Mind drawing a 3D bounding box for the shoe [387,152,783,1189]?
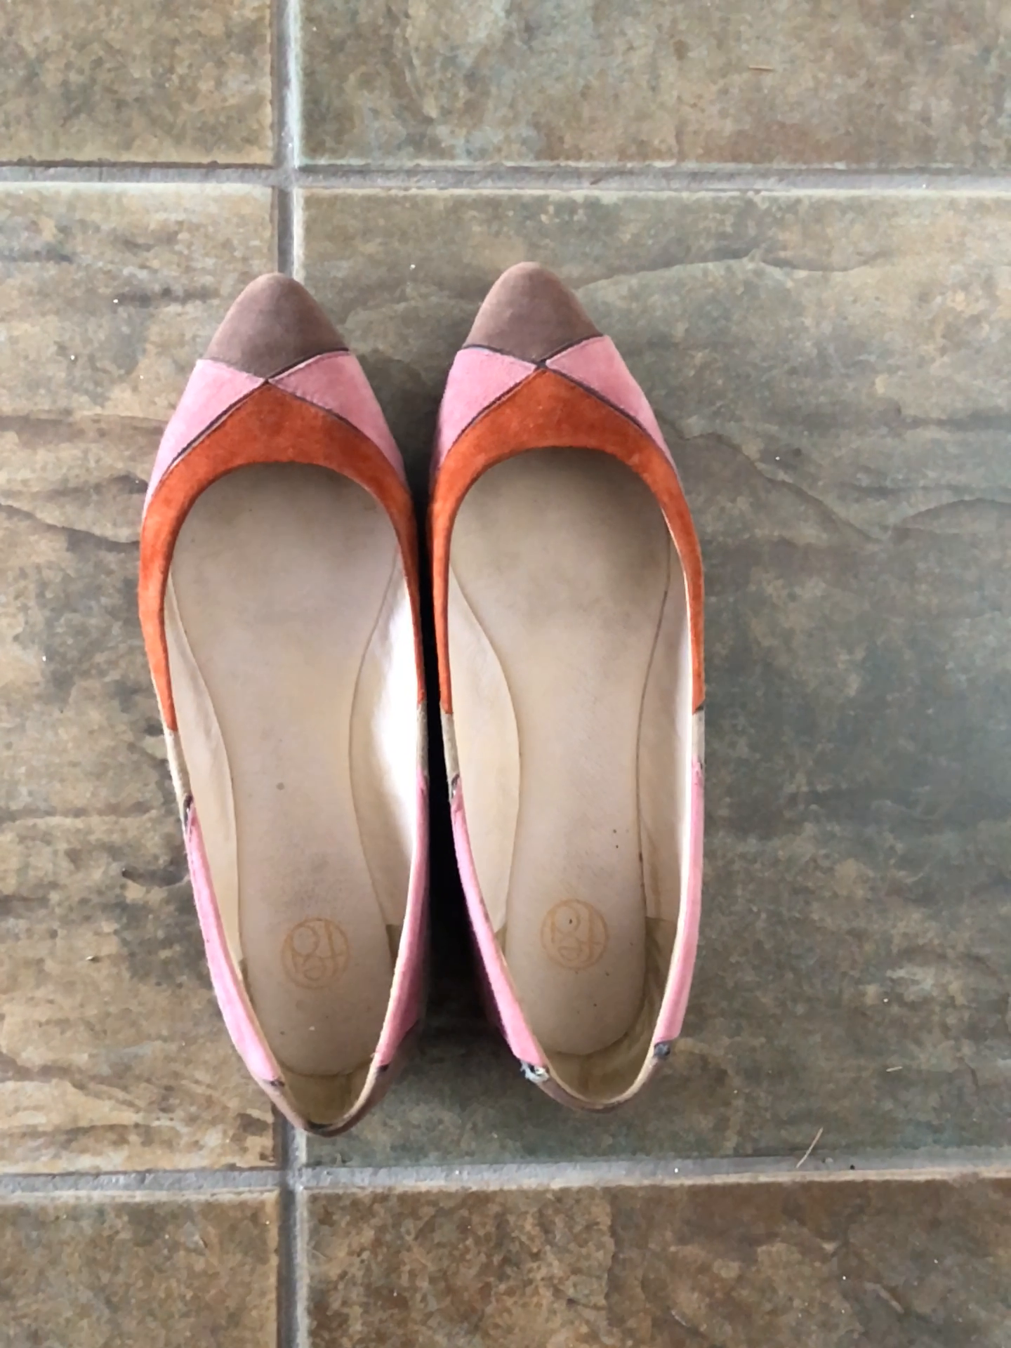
[{"bbox_3d":[0.020,-0.002,0.329,0.090,0.070,0.270,-3,89,-2],"label":"shoe"}]

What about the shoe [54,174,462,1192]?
[{"bbox_3d":[-0.069,0.002,0.336,0.090,0.070,0.270,-4,89,-2],"label":"shoe"}]
